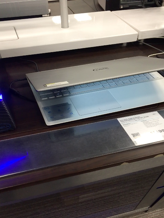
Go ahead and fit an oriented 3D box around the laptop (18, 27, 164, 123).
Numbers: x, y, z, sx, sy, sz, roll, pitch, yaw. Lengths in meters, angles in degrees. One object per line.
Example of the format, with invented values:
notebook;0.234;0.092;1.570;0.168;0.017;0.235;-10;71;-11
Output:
laptop;0.065;-0.107;0.593;0.403;0.109;0.220;-13;48;-10
